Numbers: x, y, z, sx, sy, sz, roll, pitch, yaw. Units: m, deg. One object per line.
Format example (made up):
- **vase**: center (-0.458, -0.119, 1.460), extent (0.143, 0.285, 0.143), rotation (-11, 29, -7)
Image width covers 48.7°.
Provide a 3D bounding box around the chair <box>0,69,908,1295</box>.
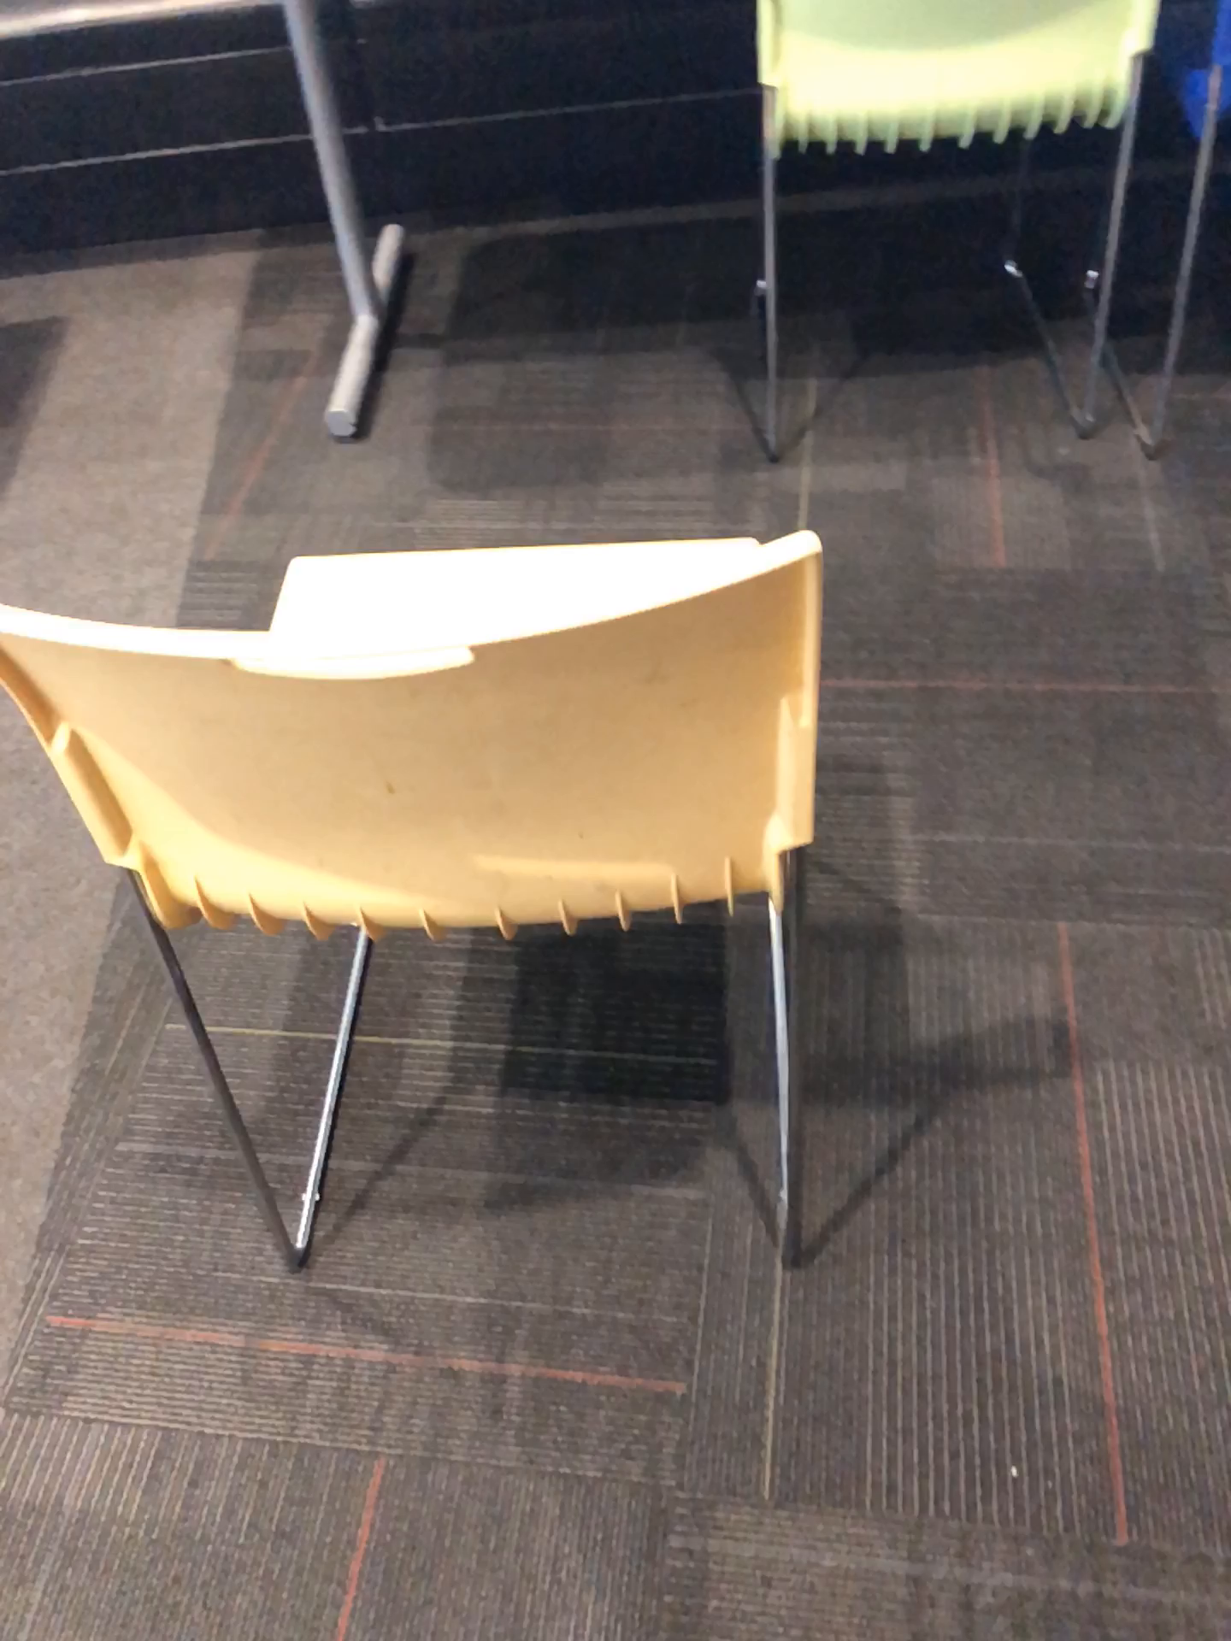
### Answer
- **chair**: center (-0.108, -0.063, 1.061), extent (0.570, 0.737, 0.562), rotation (-1, 48, 7)
